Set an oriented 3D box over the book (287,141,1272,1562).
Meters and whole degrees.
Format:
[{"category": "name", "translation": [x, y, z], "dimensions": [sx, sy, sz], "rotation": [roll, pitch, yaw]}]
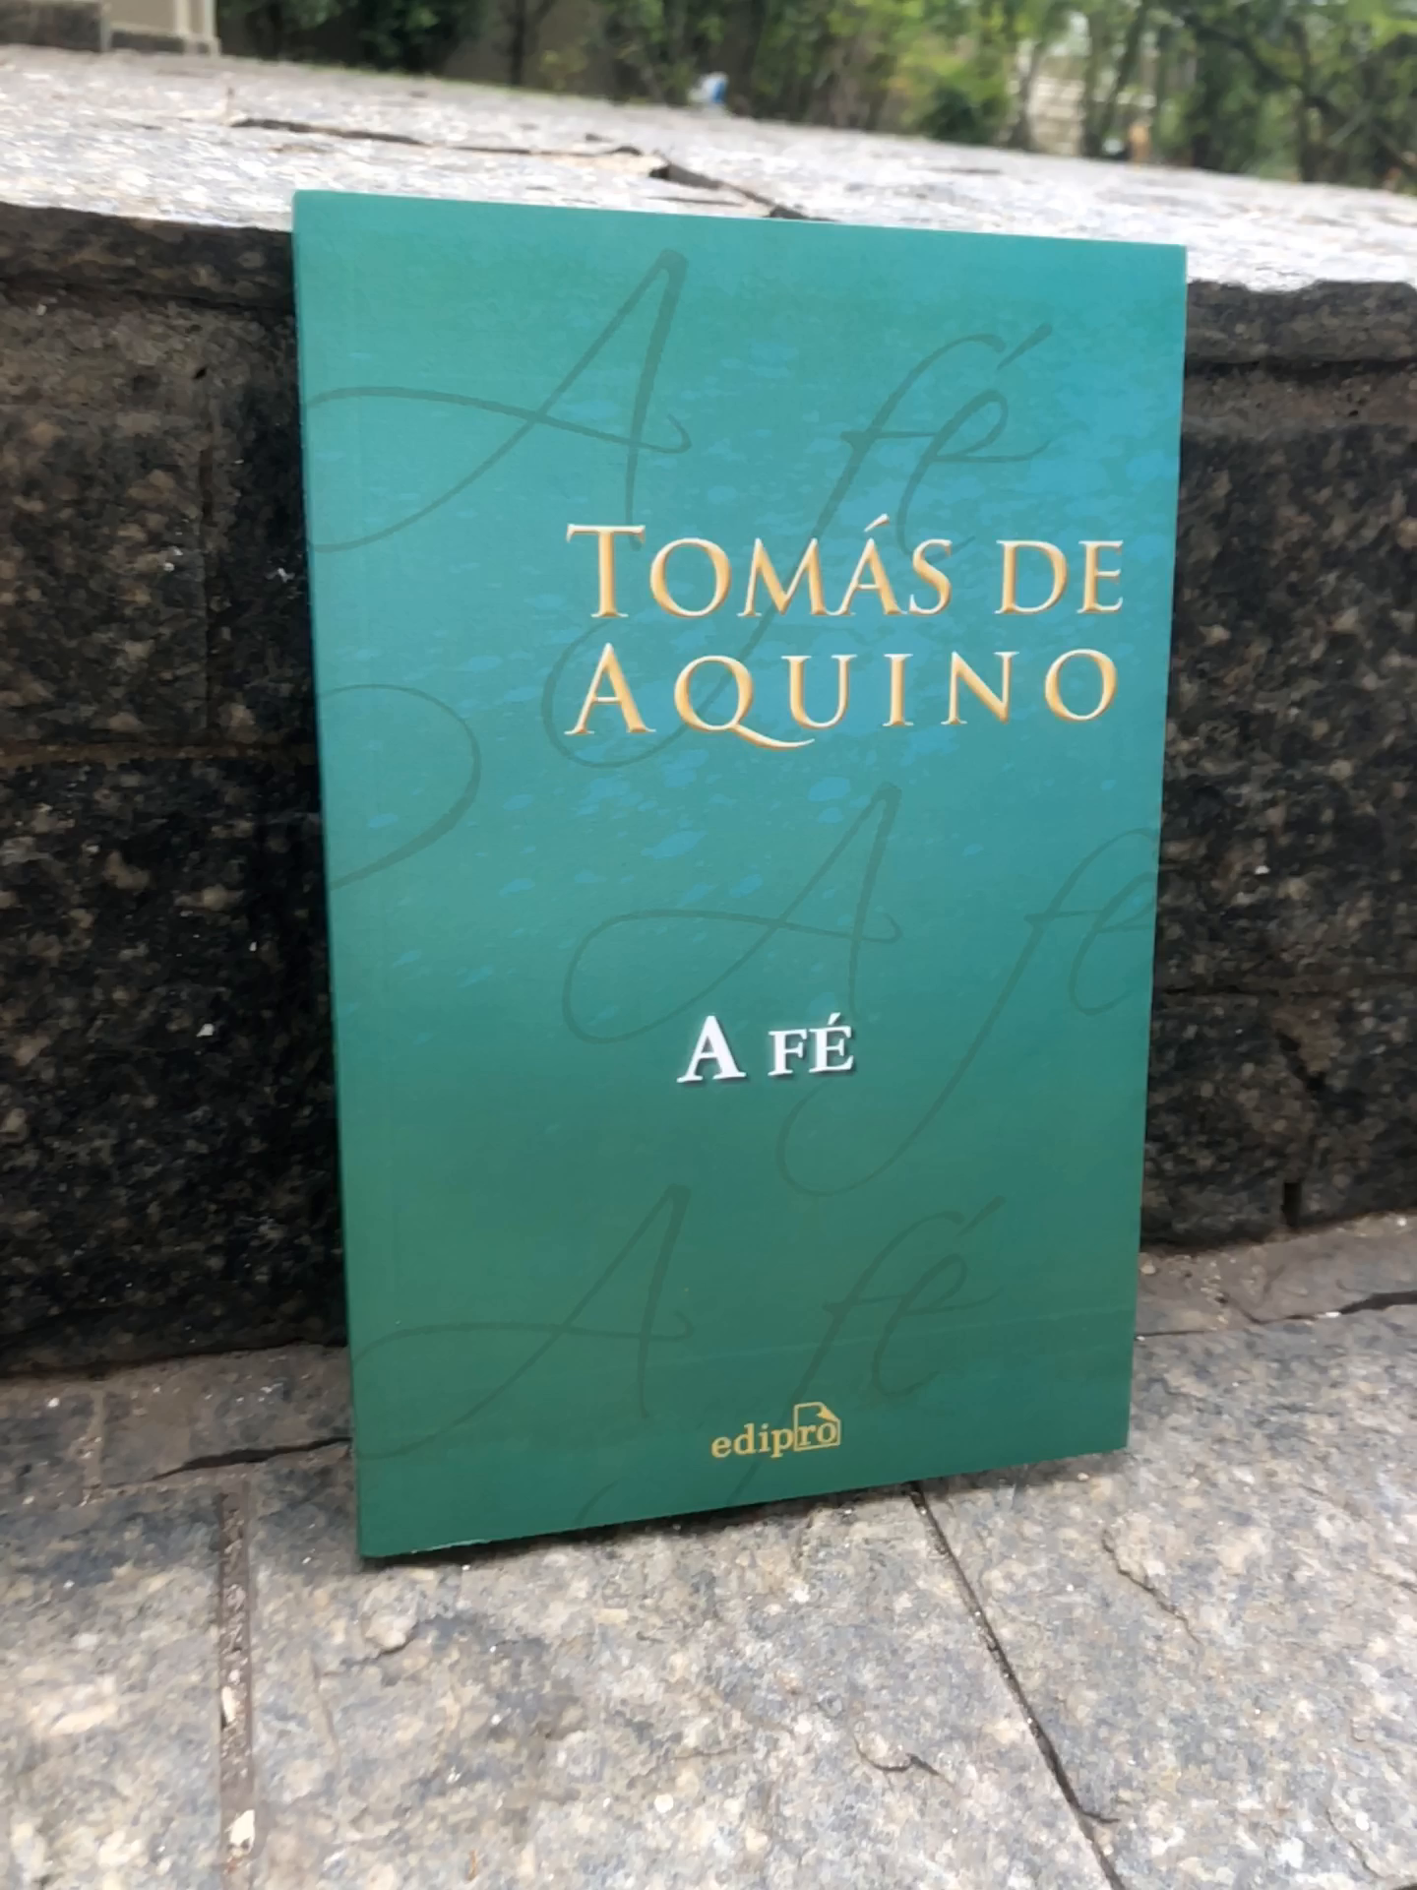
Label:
[{"category": "book", "translation": [0.011, -0.009, 0.248], "dimensions": [0.142, 0.199, 0.020], "rotation": [-2, 12, -15]}]
